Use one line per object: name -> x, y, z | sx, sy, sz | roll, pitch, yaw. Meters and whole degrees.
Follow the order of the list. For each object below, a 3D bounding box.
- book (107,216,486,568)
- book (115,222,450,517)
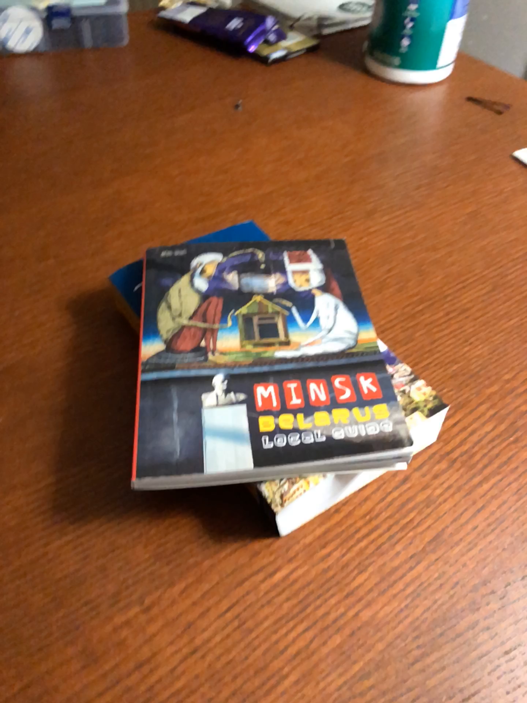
book -> 0.008, 0.004, 0.373 | 0.130, 0.040, 0.221 | -24, 53, -23
book -> -0.002, -0.007, 0.329 | 0.150, 0.020, 0.191 | -4, 47, -7
